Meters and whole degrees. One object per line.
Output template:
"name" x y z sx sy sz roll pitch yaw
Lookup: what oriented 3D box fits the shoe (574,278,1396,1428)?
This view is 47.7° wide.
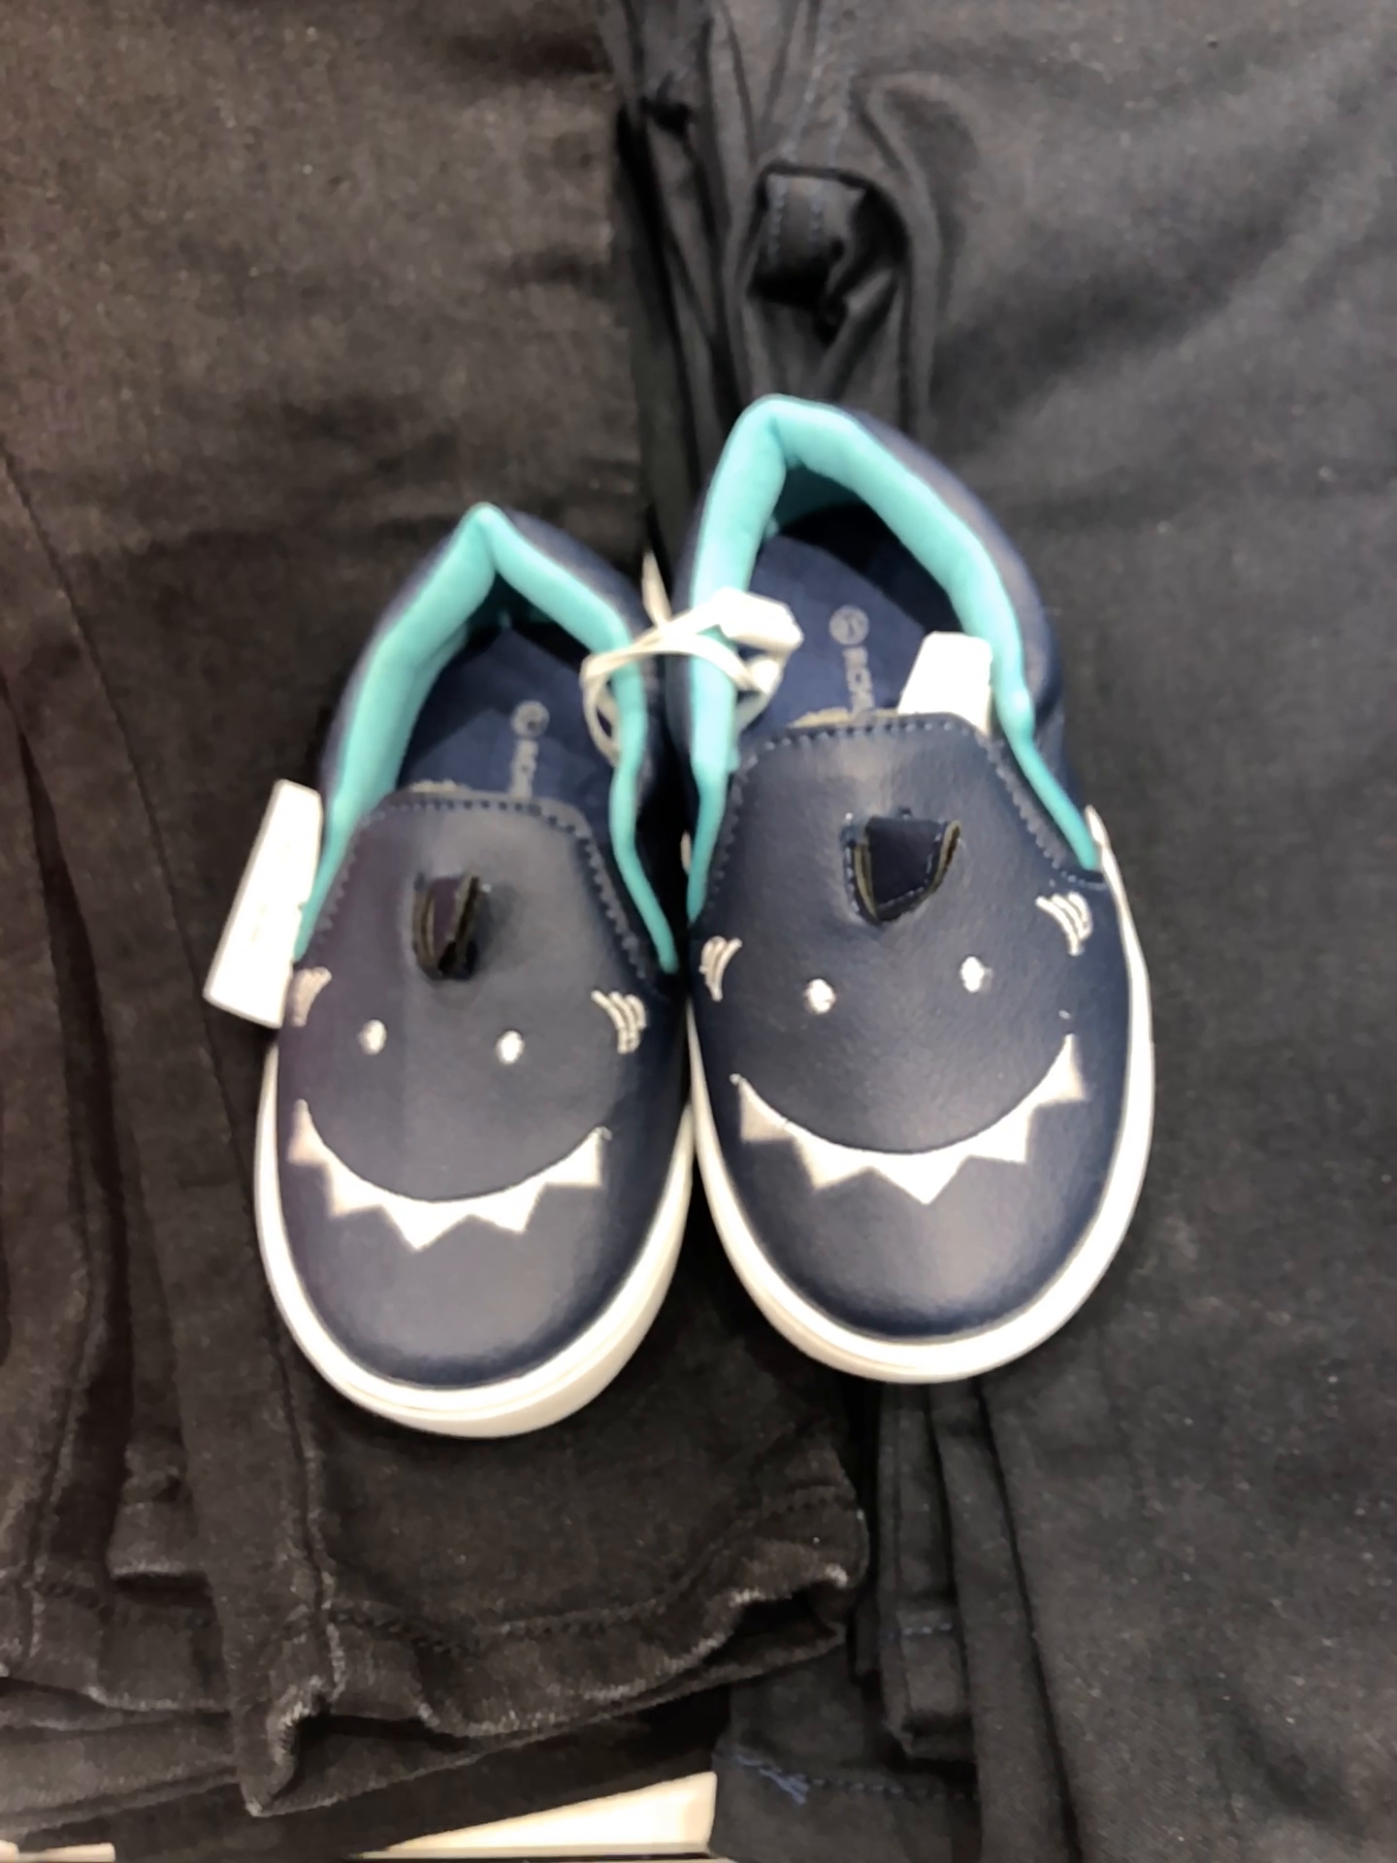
"shoe" 0.032 -0.013 0.229 0.080 0.050 0.150 -8 68 -1

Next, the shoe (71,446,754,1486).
"shoe" -0.033 0.003 0.242 0.080 0.050 0.150 1 68 3
